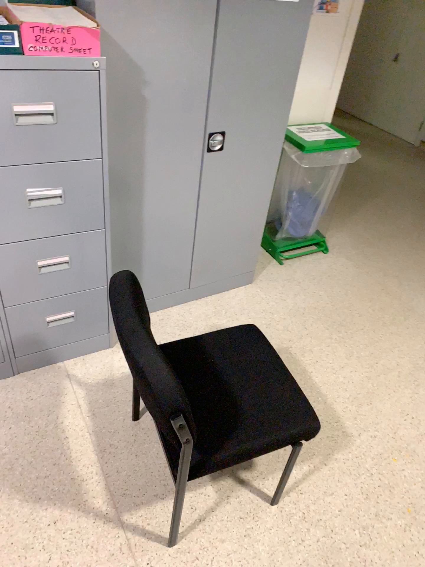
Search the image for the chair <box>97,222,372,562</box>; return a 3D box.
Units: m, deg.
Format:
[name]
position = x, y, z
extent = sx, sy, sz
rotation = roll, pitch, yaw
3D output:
[chair]
position = -0.020, 0.348, 1.504
extent = 0.591, 0.851, 0.635
rotation = -10, 41, -22
